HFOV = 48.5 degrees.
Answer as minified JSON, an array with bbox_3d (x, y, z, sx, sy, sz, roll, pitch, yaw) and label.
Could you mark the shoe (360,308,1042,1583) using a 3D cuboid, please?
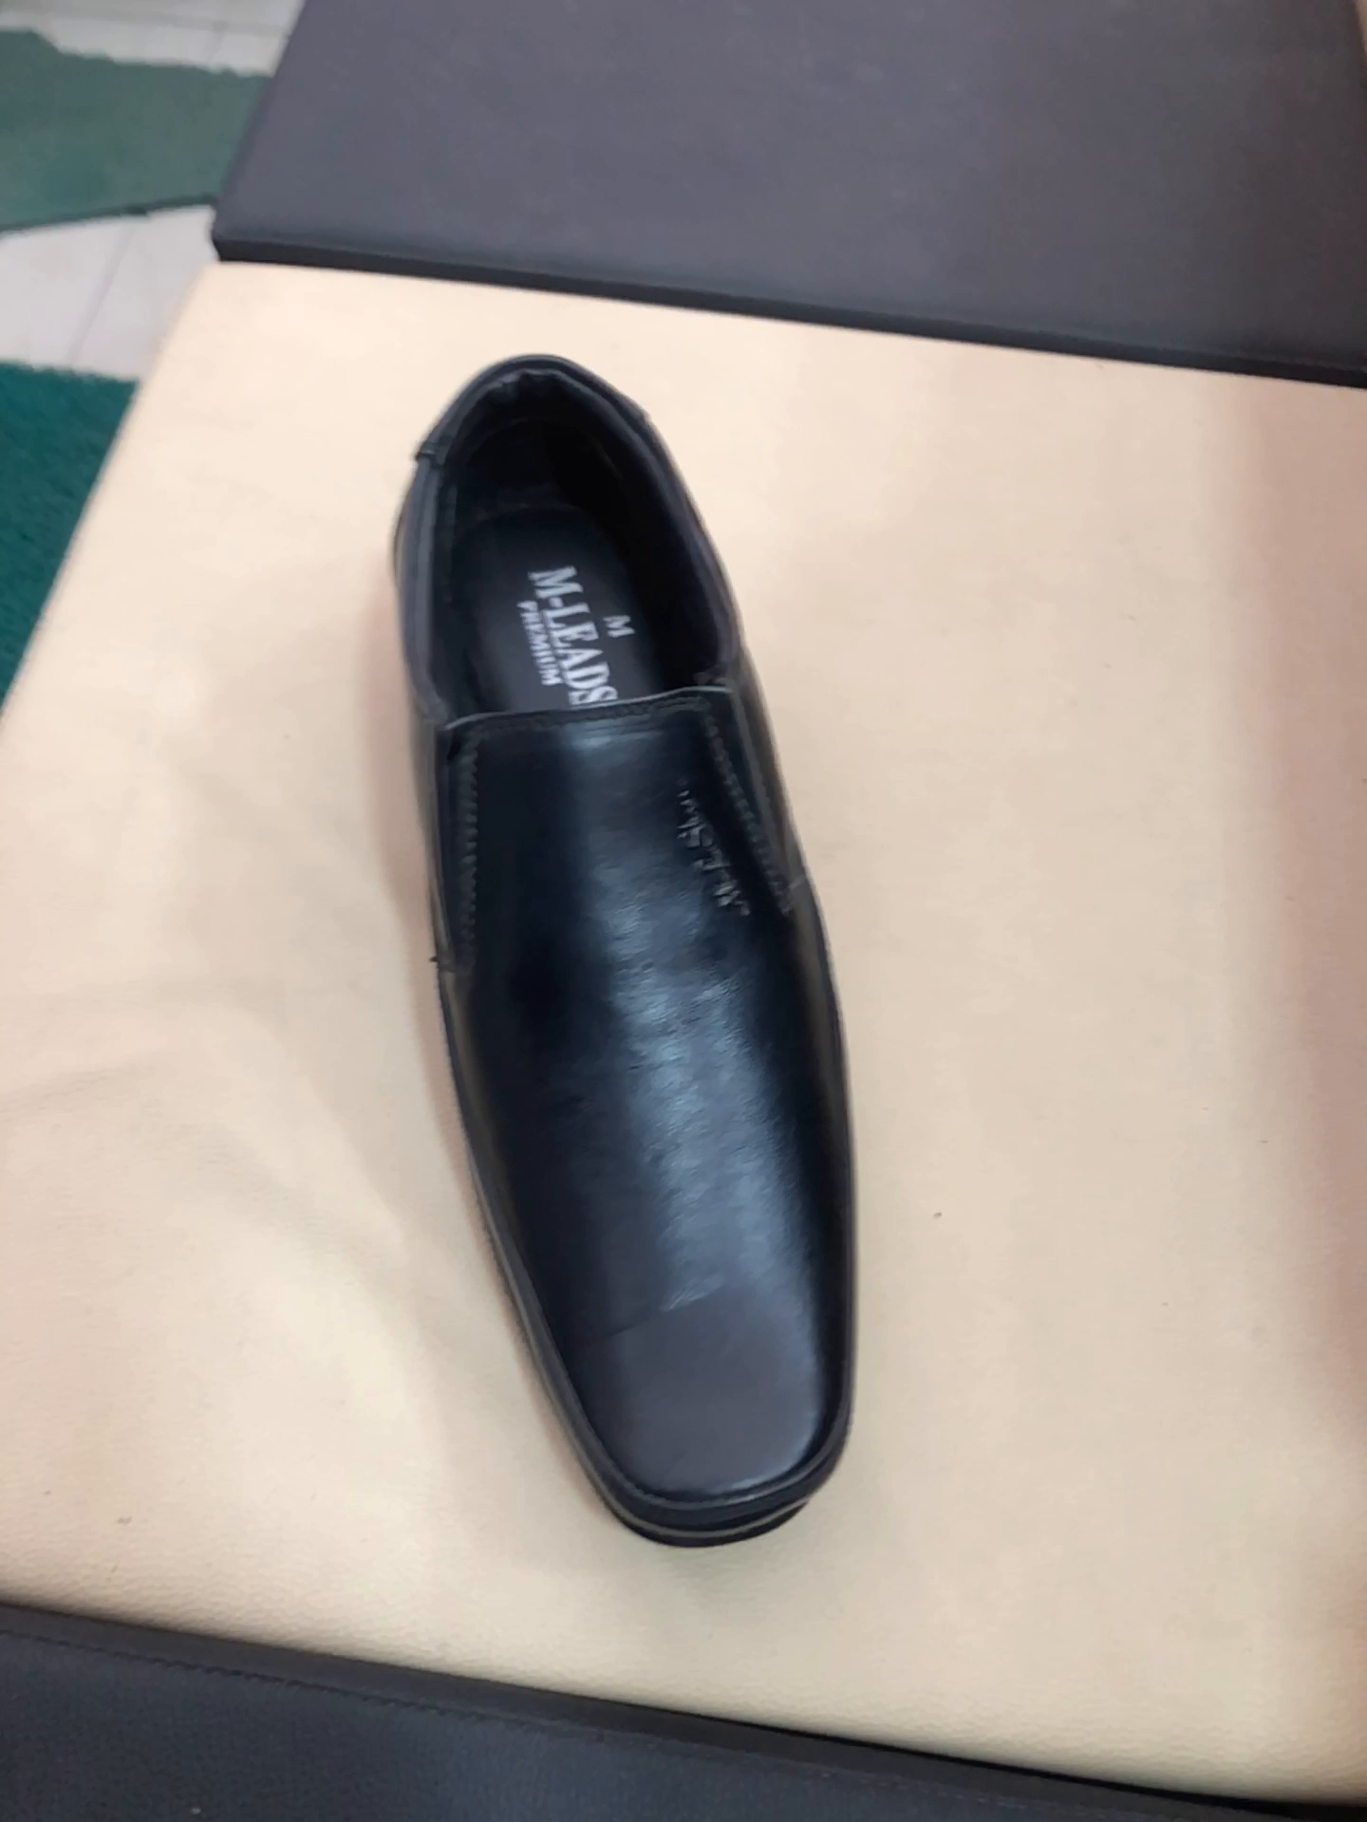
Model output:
[{"bbox_3d":[-0.012,-0.009,0.373,0.100,0.080,0.300,-8,62,-7],"label":"shoe"}]
